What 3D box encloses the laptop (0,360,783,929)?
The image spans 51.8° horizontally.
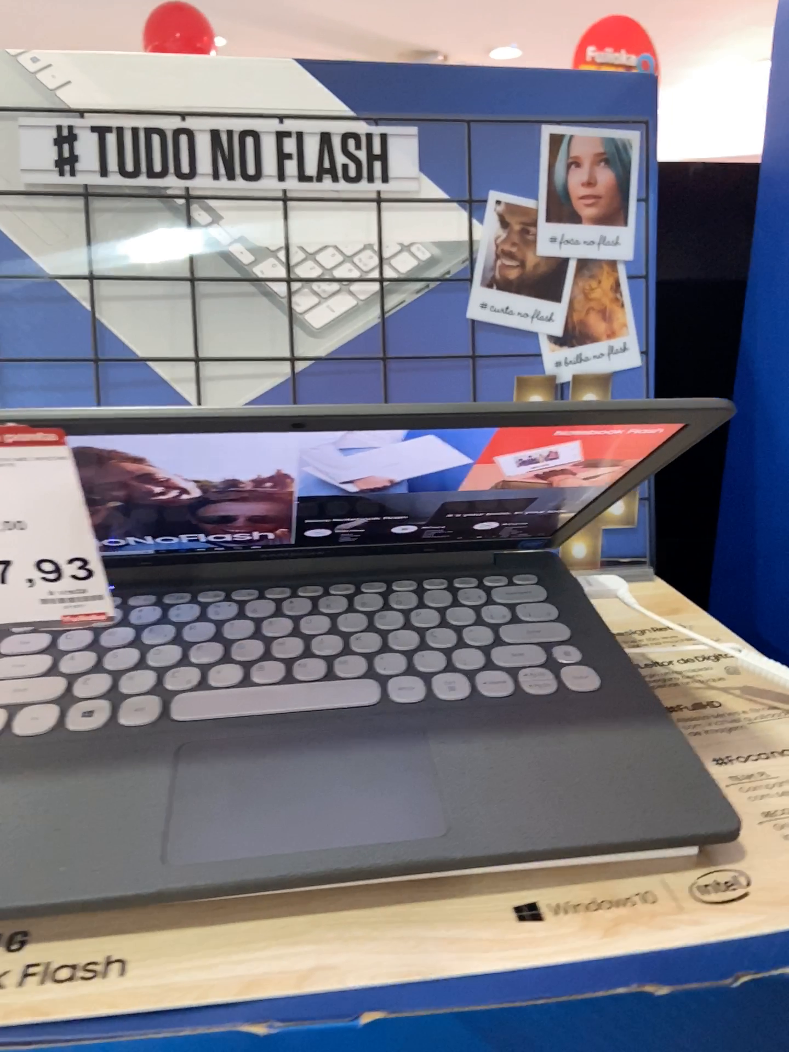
[{"bbox_3d":[-0.046,0.017,0.357,0.323,0.114,0.211,-3,25,-8],"label":"laptop"}]
